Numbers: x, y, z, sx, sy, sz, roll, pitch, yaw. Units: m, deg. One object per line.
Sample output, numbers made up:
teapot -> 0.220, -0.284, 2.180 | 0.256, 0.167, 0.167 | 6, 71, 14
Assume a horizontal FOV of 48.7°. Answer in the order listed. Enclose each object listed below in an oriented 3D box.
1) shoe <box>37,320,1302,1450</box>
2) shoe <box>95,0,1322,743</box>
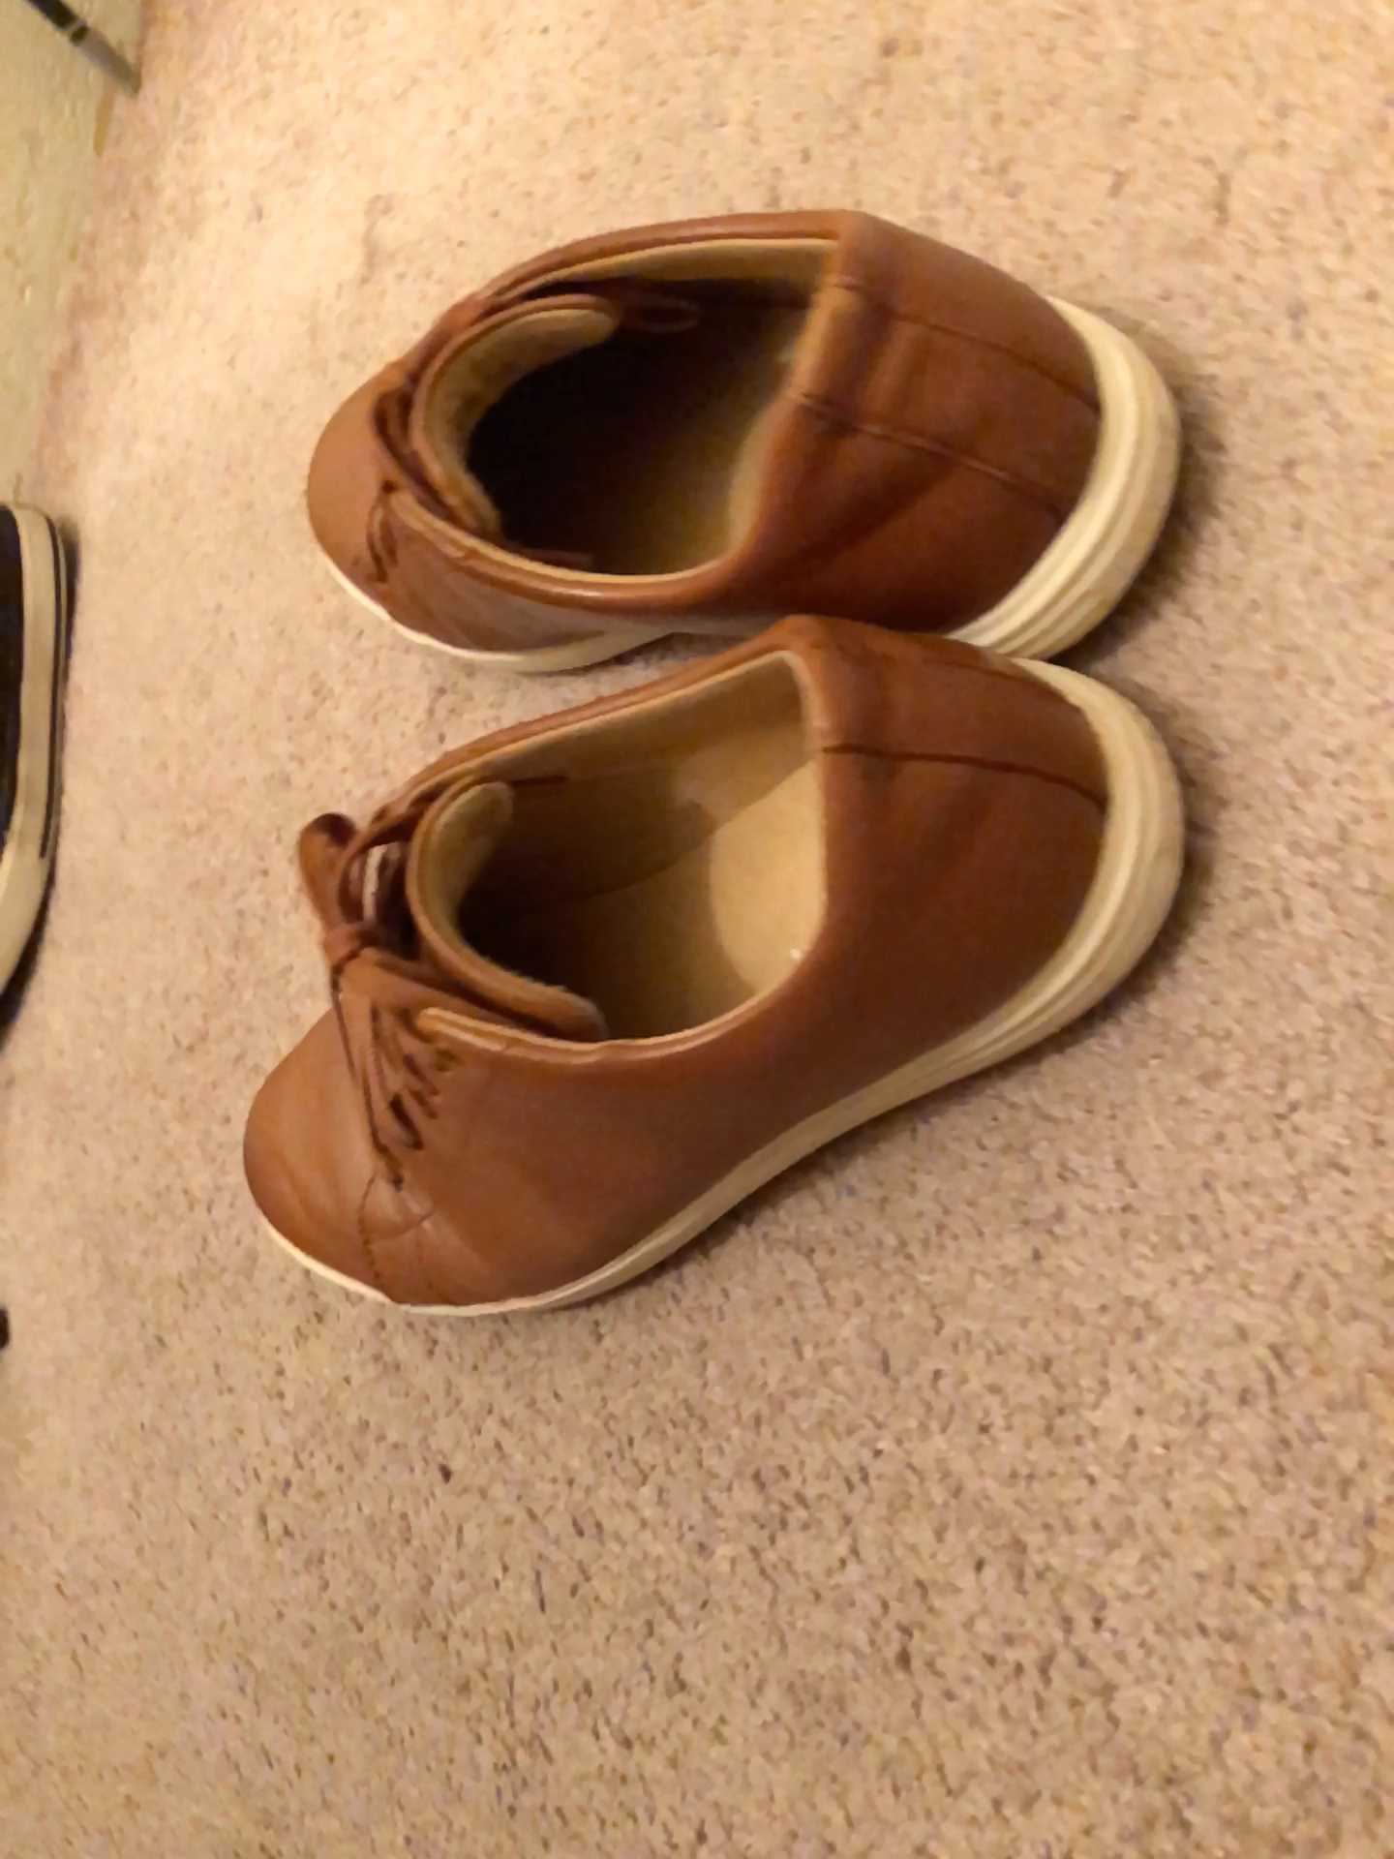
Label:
shoe -> -0.039, 0.024, 0.339 | 0.286, 0.100, 0.117 | -32, 59, 40
shoe -> -0.026, -0.119, 0.358 | 0.286, 0.102, 0.117 | 11, 90, 49
